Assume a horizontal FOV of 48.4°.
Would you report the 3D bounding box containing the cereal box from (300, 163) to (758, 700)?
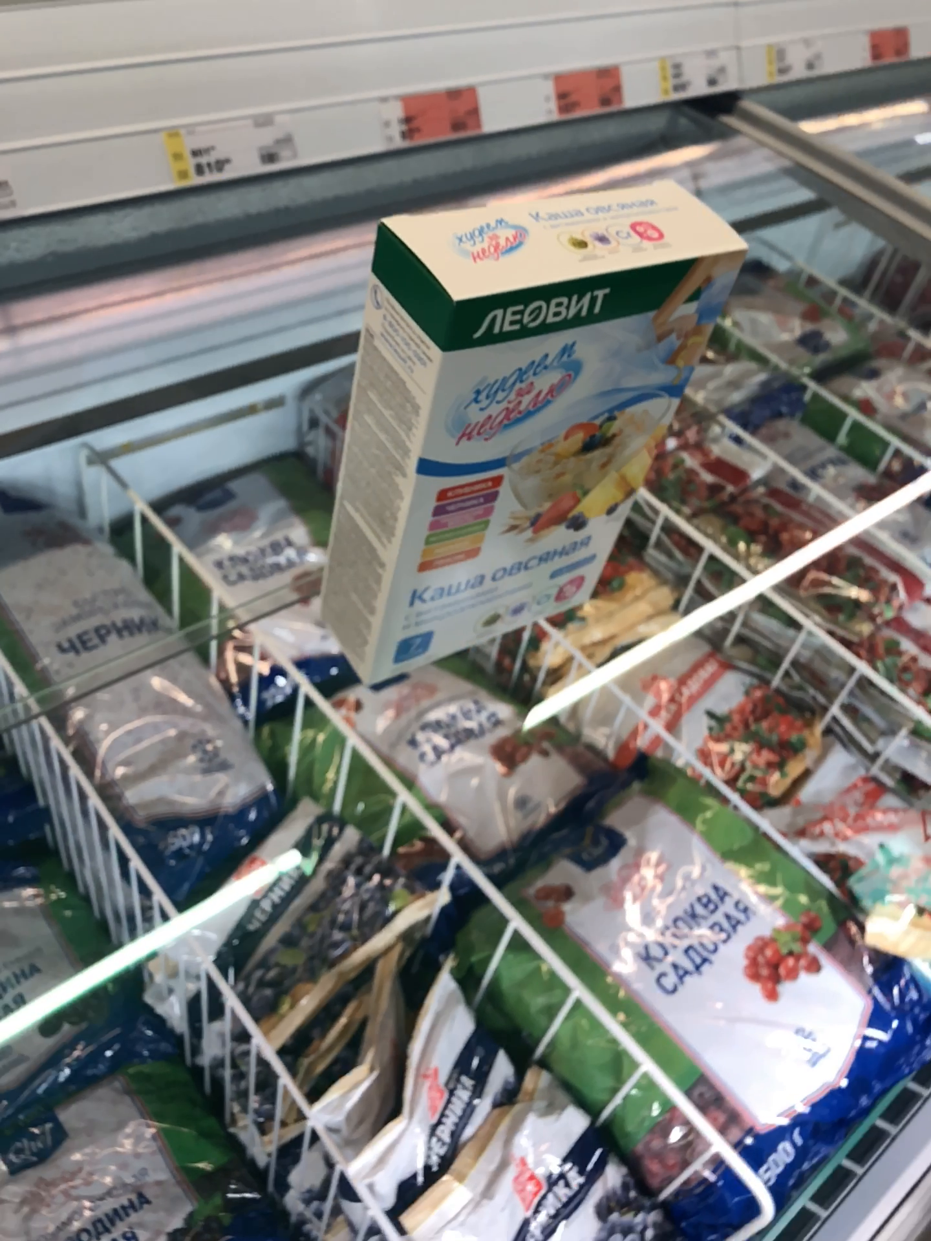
[{"bbox_3d":[0.015,-0.077,0.474,0.150,0.228,0.060,-20,59,-29],"label":"cereal box"}]
